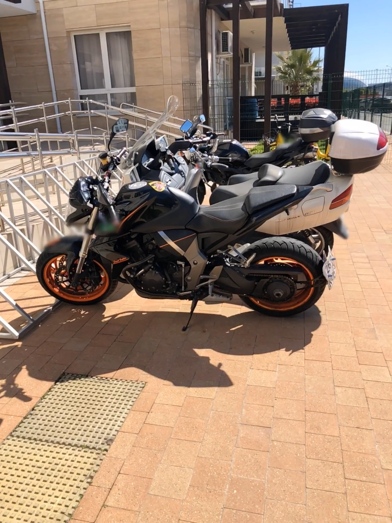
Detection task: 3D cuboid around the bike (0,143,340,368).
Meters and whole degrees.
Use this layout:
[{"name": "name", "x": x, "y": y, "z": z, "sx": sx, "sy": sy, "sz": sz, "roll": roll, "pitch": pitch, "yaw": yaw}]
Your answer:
[{"name": "bike", "x": -0.185, "y": -0.126, "z": 2.798, "sx": 1.949, "sy": 1.171, "sz": 0.799, "roll": 2, "pitch": 19, "yaw": 11}]
